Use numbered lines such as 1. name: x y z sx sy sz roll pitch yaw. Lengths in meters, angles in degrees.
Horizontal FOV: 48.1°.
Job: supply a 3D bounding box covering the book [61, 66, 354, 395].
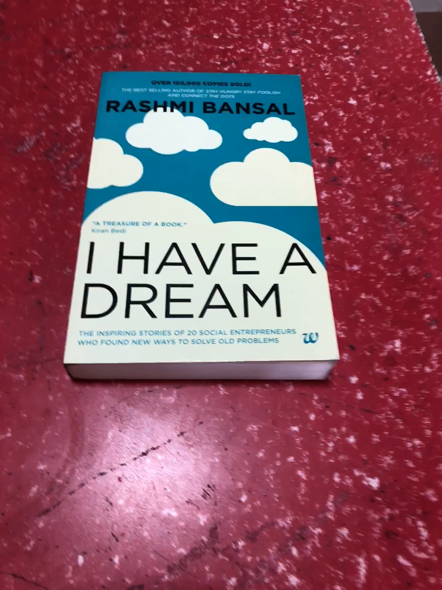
1. book: -0.008 -0.047 0.279 0.130 0.030 0.200 0 63 -3
